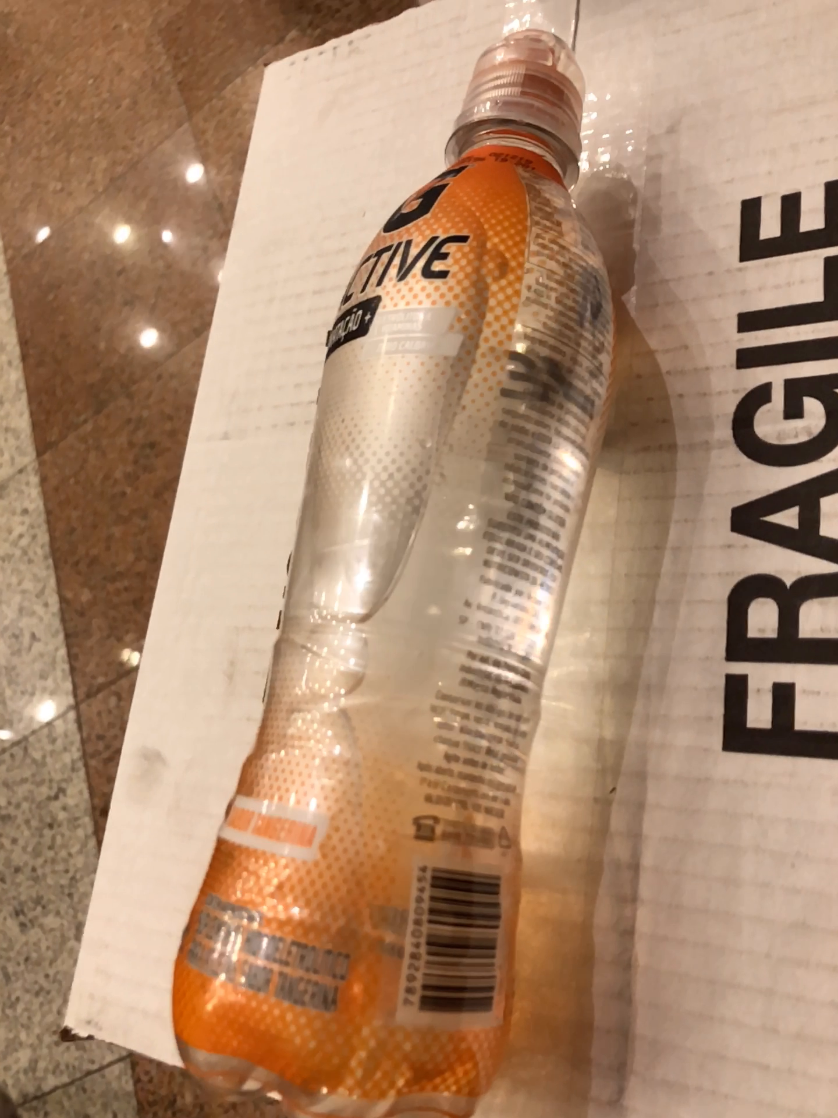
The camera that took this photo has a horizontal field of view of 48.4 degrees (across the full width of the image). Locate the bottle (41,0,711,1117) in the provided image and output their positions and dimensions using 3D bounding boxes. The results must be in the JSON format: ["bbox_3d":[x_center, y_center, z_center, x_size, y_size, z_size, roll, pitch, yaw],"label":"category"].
[{"bbox_3d":[0.004,-0.025,0.197,0.070,0.060,0.250,3,74,31],"label":"bottle"}]
